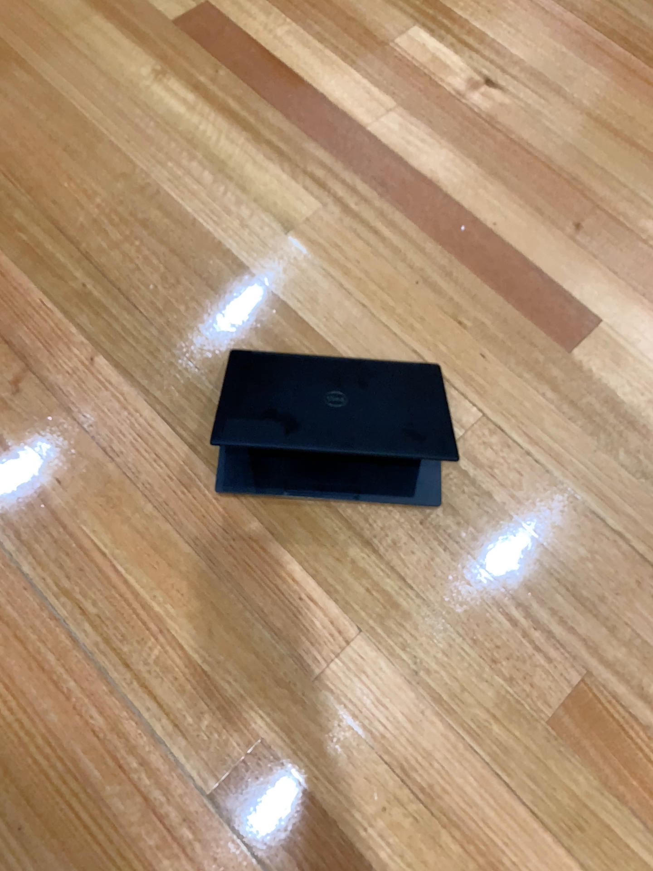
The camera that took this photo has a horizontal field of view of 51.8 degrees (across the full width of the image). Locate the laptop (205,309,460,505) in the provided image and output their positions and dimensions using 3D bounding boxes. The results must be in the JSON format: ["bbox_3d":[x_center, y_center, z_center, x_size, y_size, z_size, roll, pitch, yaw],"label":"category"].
[{"bbox_3d":[0.010,-0.035,0.870,0.296,0.110,0.207,5,66,-3],"label":"laptop"}]
